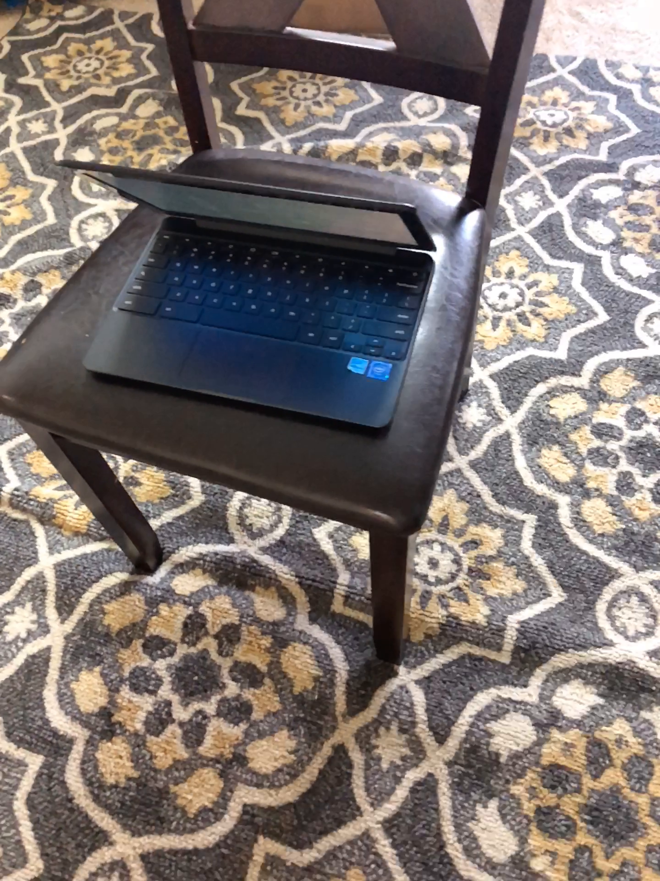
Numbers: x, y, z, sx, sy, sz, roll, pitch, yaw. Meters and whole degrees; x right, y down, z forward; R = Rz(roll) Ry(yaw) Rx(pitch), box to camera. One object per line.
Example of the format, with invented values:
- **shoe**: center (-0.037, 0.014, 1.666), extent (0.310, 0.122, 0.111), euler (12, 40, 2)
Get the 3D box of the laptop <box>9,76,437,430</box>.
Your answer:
- **laptop**: center (-0.068, -0.155, 0.597), extent (0.263, 0.155, 0.192), euler (12, 60, 10)
